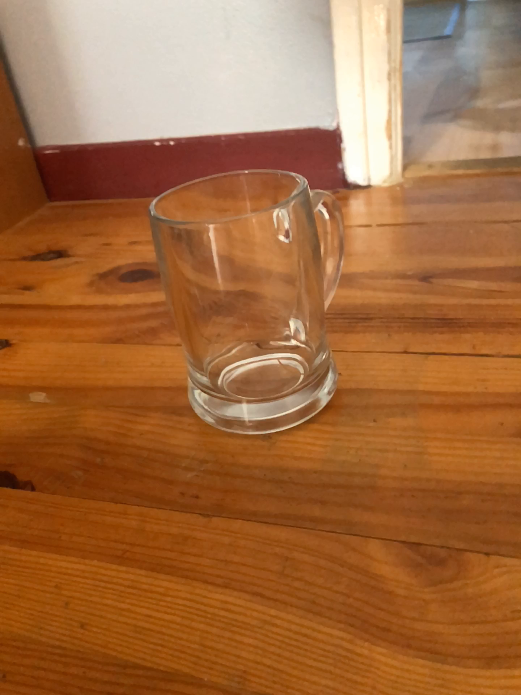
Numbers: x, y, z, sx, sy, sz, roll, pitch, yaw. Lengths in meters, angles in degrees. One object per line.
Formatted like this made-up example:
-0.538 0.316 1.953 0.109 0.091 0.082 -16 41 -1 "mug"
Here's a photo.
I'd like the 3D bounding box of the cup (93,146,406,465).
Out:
0.003 -0.033 0.312 0.091 0.110 0.129 23 43 40 "cup"
